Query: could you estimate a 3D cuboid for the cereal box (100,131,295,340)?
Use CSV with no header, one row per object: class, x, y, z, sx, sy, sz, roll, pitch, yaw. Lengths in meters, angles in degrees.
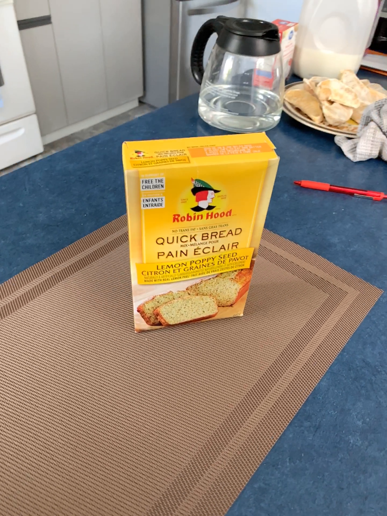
cereal box,-0.002,-0.010,0.337,0.130,0.178,0.040,-6,43,-11
